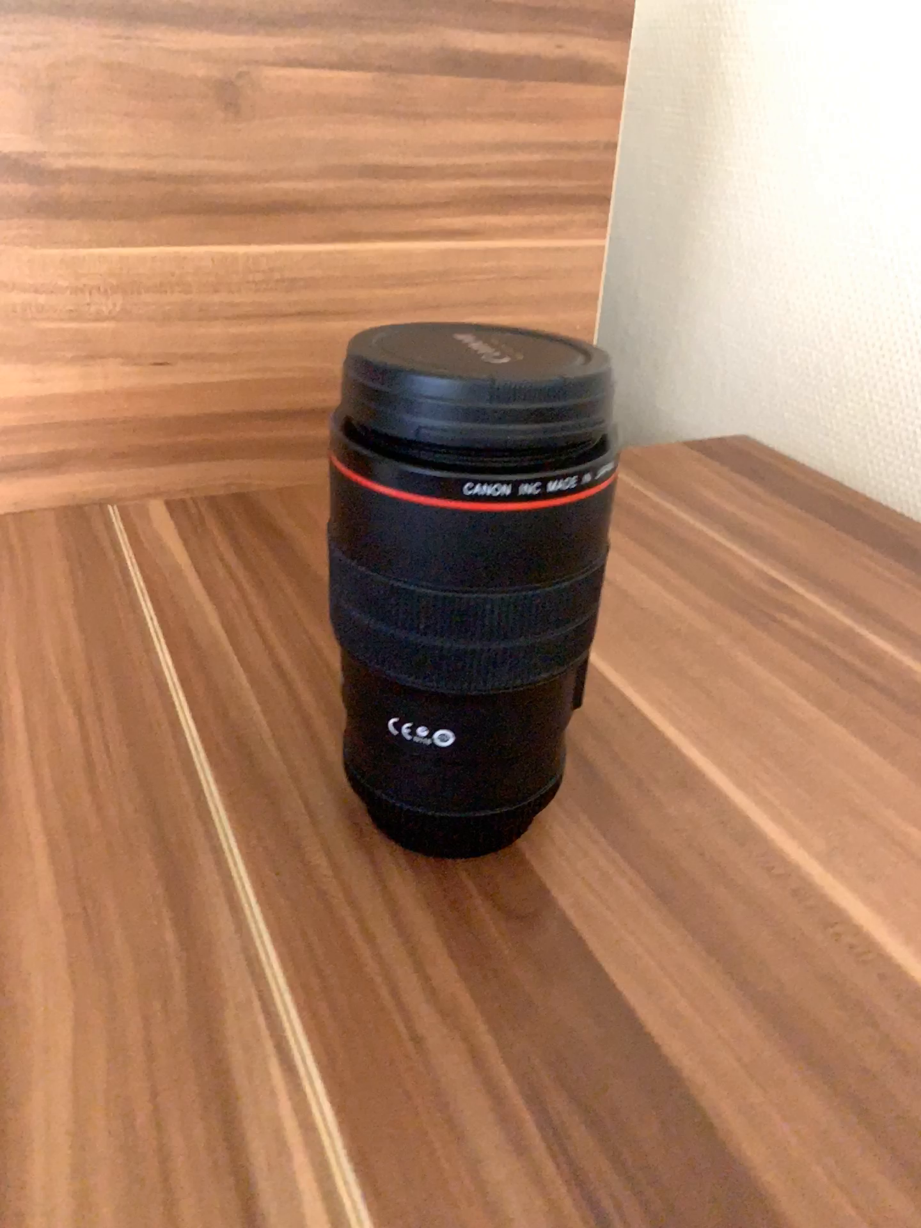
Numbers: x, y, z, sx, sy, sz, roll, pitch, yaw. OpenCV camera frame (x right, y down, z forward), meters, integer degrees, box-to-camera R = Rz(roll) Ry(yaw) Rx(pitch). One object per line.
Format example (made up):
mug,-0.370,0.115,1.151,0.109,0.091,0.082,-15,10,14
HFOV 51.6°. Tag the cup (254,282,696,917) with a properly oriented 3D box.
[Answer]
cup,-0.002,-0.008,0.260,0.070,0.139,0.080,-21,37,-36
